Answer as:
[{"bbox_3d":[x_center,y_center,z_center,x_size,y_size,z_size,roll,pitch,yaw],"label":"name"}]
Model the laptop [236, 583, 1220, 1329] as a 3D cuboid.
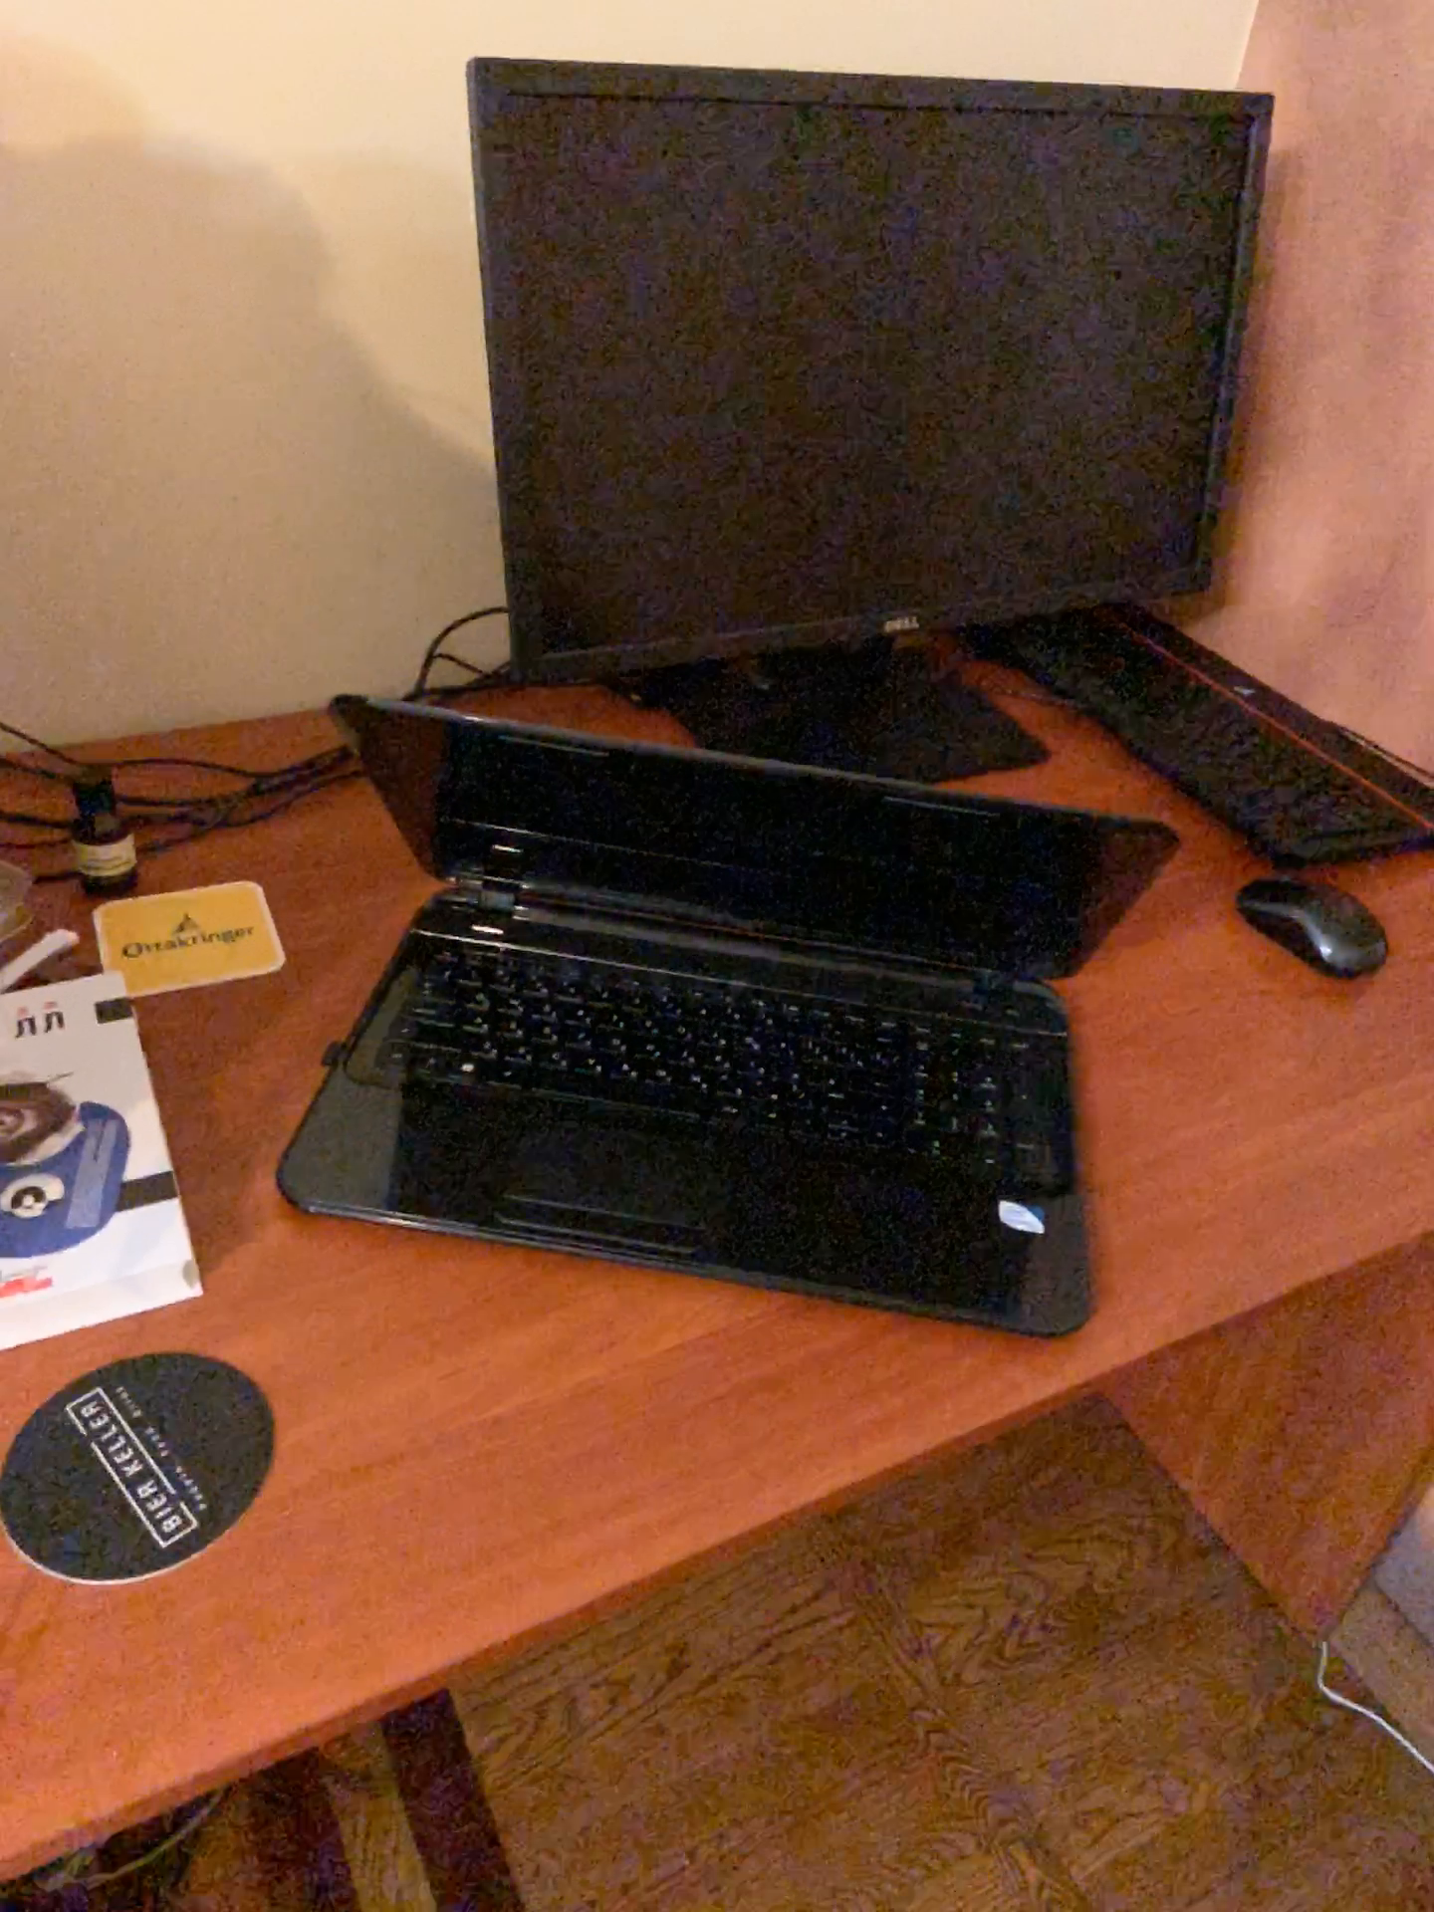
[{"bbox_3d":[0.009,-0.013,0.694,0.369,0.194,0.245,9,37,4],"label":"laptop"}]
